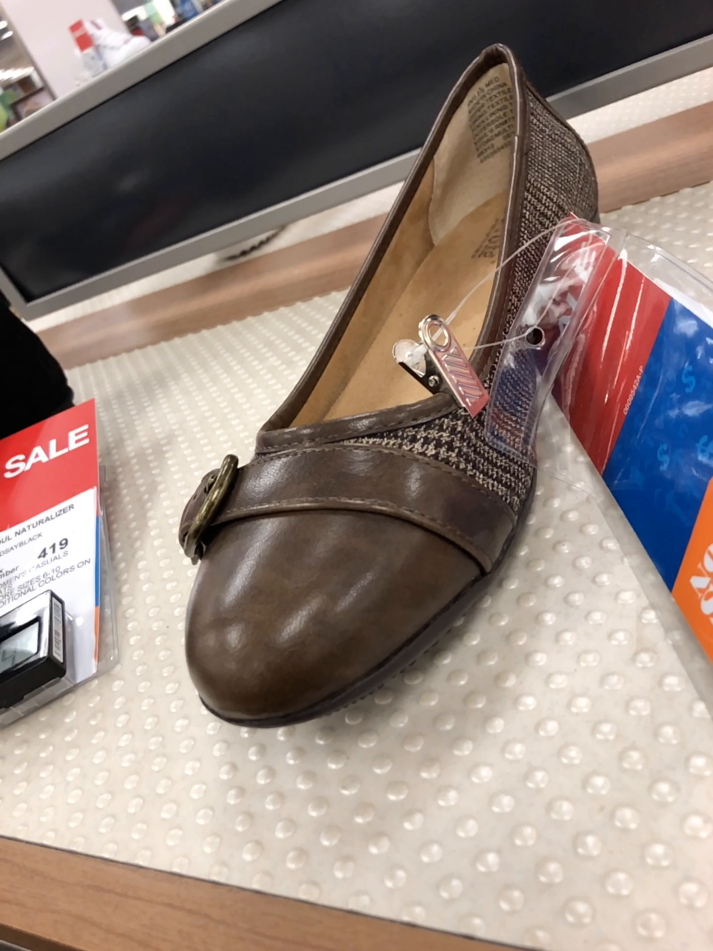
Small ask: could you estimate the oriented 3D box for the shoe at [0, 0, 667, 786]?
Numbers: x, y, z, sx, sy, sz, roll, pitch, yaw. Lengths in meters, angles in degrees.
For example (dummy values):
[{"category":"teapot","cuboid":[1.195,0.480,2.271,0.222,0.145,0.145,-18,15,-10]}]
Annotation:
[{"category":"shoe","cuboid":[0.022,-0.058,0.251,0.093,0.080,0.279,-7,38,35]}]
